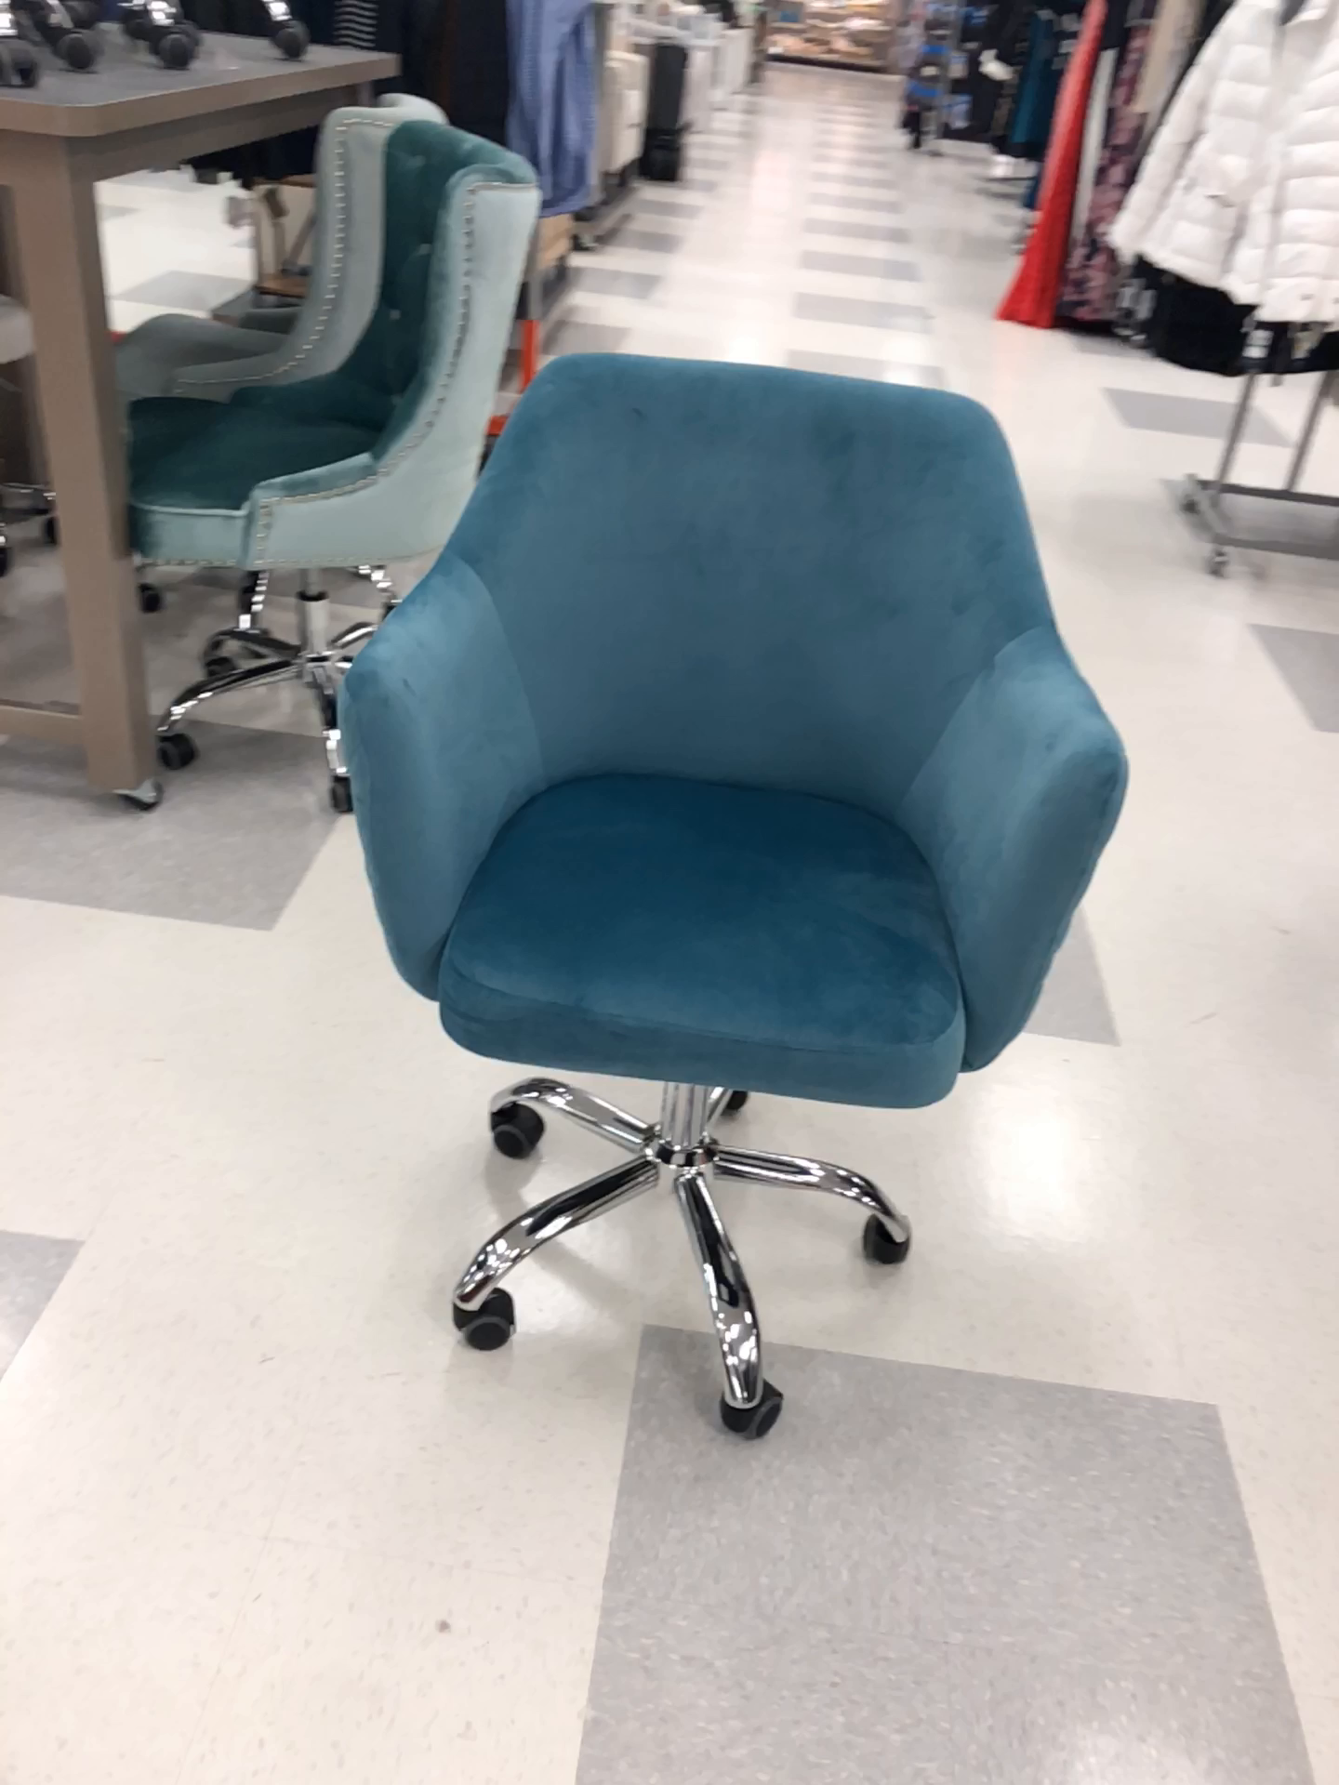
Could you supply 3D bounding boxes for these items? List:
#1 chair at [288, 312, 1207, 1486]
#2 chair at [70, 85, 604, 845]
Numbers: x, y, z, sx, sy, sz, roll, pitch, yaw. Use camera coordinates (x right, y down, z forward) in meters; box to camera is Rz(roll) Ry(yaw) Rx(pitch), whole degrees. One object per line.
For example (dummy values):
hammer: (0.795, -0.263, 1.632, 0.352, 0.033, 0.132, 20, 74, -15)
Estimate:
chair: (0.039, -0.003, 1.410, 0.594, 0.887, 0.565, 8, 32, 3)
chair: (-0.564, -0.715, 2.403, 0.652, 0.967, 0.738, -7, 34, -20)
